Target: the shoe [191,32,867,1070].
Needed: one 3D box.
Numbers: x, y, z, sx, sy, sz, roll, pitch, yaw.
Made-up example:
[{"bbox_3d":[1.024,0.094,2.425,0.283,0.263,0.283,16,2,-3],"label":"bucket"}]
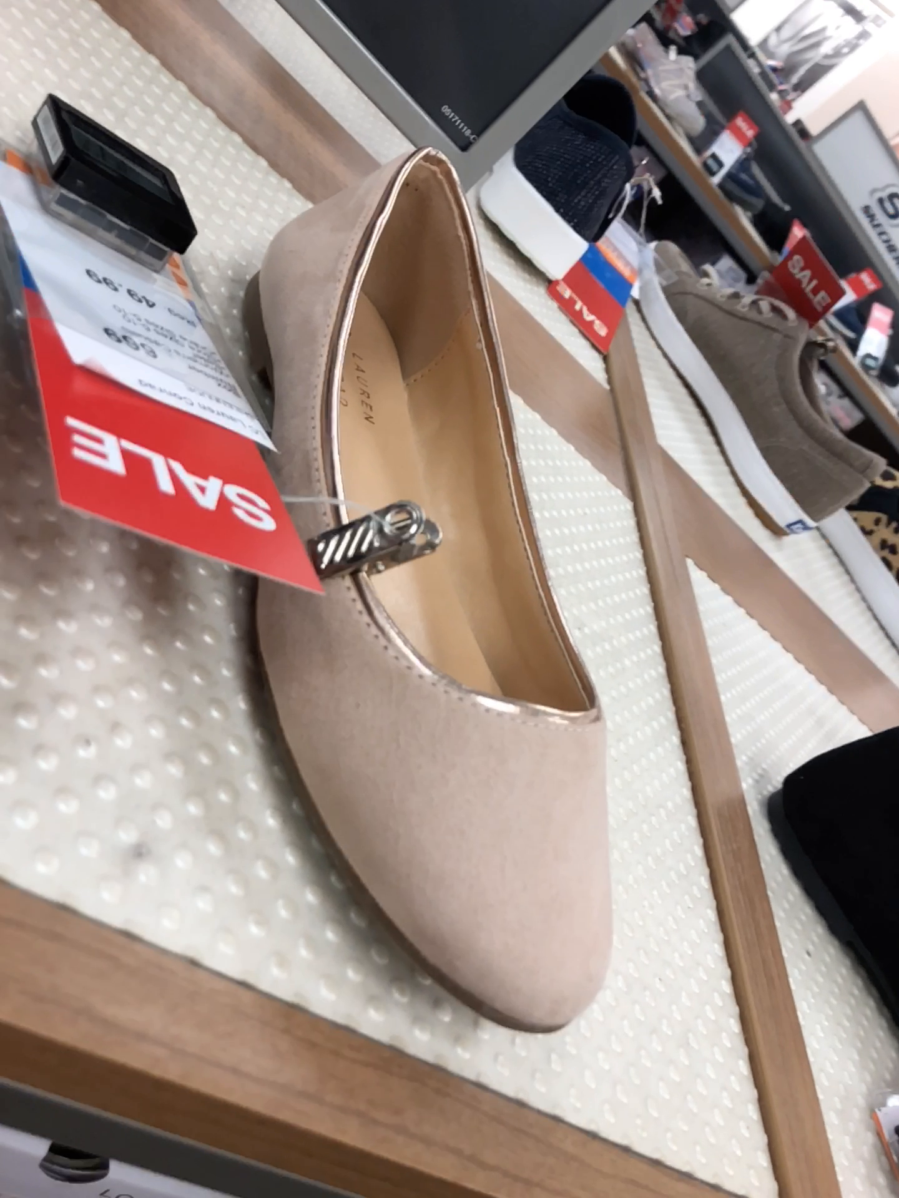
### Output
[{"bbox_3d":[0.002,-0.022,0.233,0.085,0.063,0.228,24,41,-43],"label":"shoe"}]
